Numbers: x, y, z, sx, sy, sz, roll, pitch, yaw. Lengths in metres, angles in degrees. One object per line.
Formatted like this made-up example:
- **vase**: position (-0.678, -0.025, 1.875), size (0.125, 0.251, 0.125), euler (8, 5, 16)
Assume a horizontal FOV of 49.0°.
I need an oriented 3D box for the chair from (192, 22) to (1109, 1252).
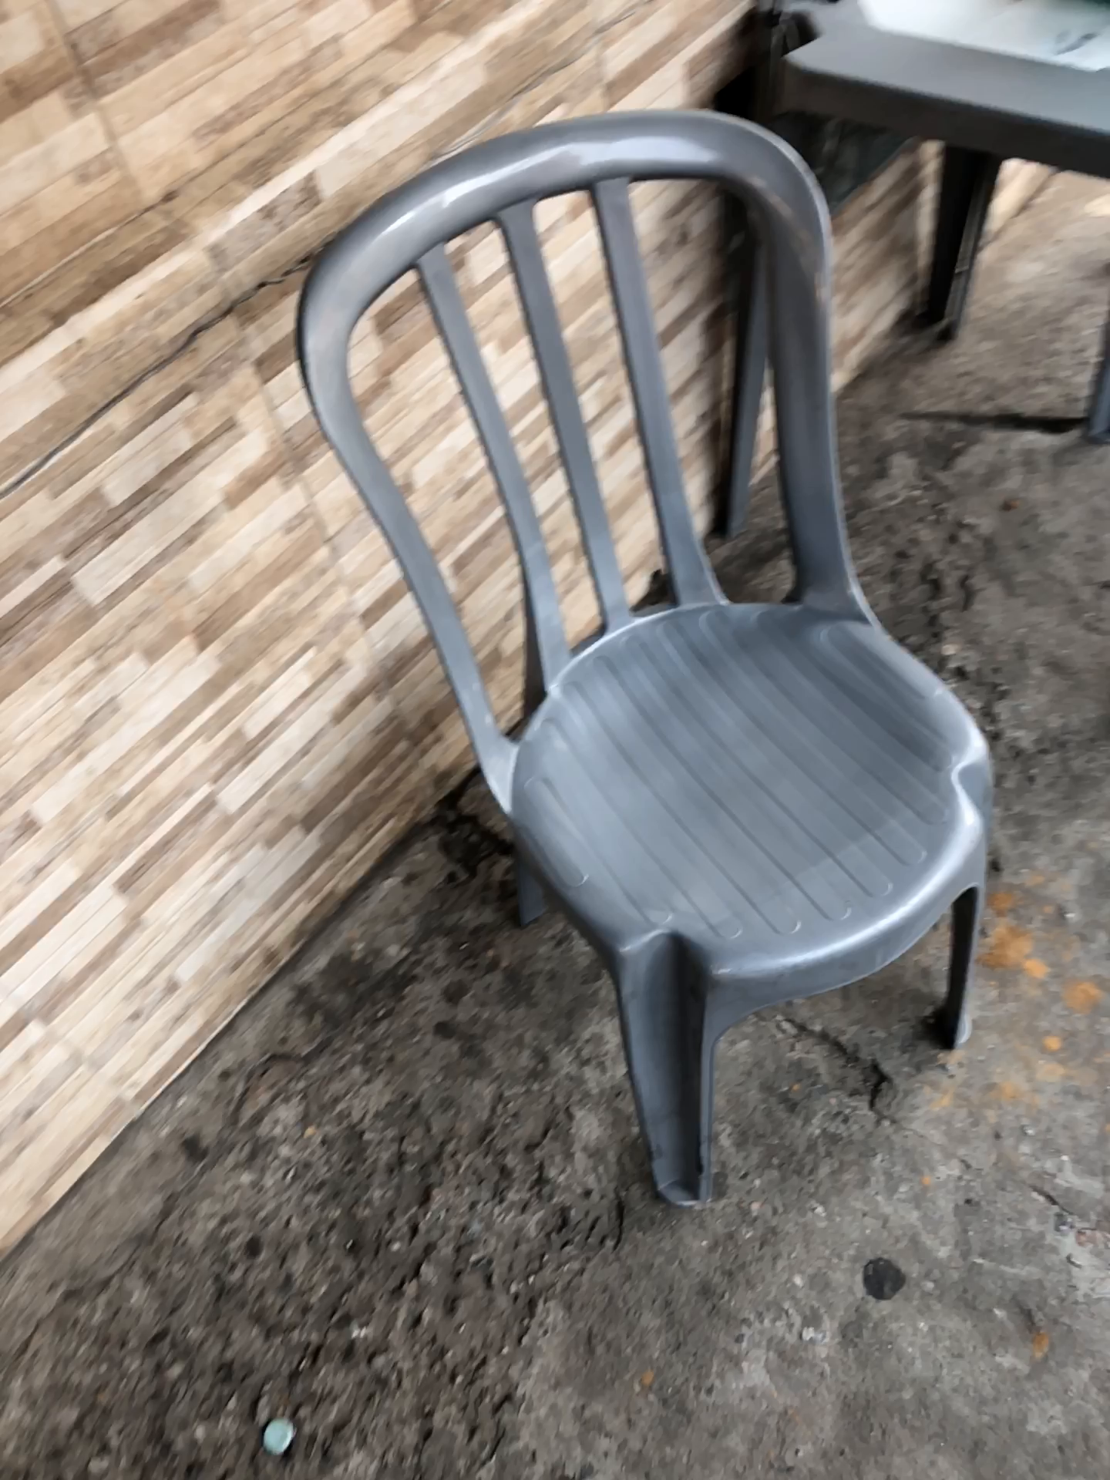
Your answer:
- **chair**: position (0.126, -0.019, 1.045), size (0.440, 0.835, 0.503), euler (-28, 53, -10)
